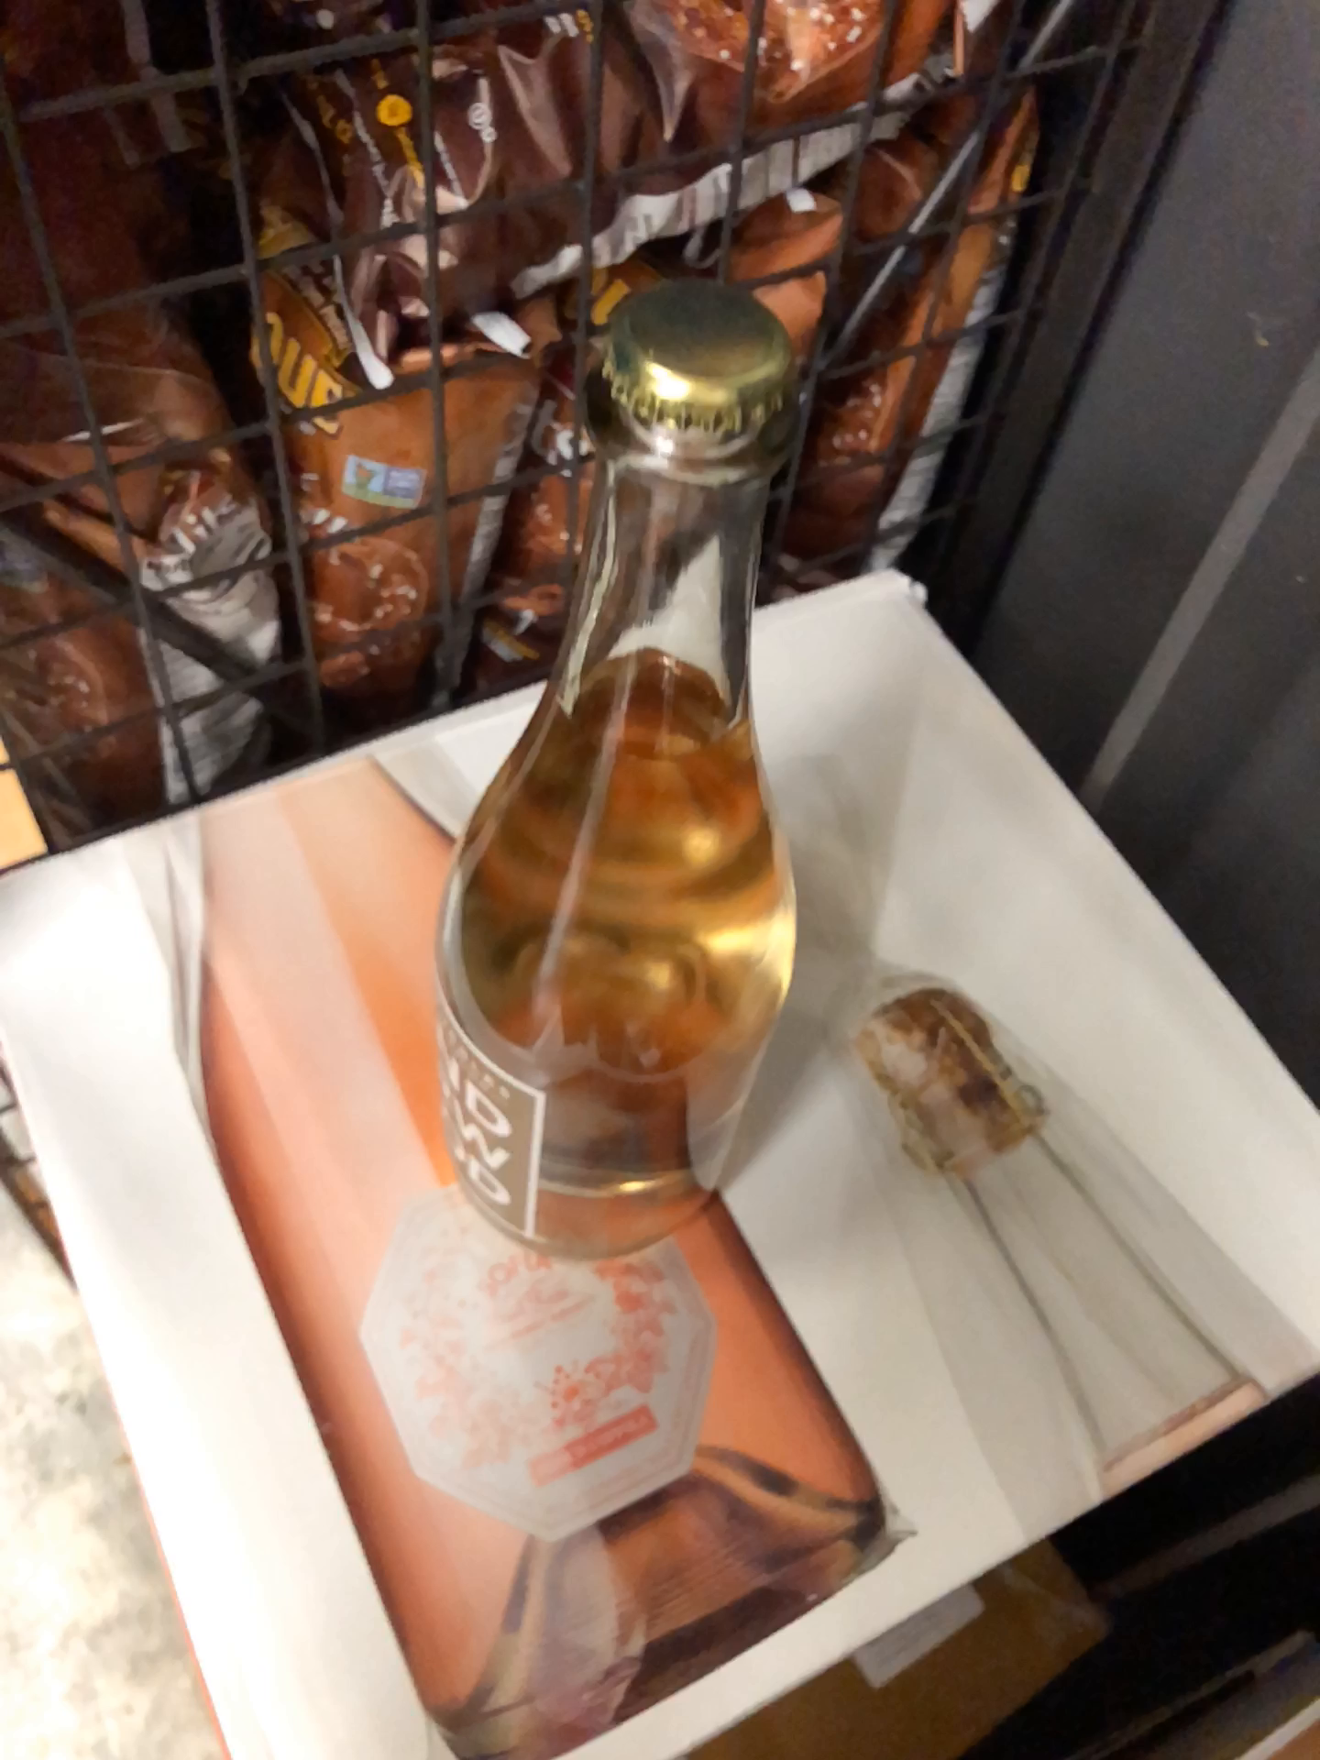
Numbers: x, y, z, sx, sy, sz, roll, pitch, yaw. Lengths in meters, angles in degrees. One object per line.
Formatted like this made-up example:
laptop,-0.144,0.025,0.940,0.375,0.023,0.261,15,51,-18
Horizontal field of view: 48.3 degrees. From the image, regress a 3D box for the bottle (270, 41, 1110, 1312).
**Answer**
bottle,-0.013,-0.011,0.346,0.095,0.304,0.099,3,55,-4
